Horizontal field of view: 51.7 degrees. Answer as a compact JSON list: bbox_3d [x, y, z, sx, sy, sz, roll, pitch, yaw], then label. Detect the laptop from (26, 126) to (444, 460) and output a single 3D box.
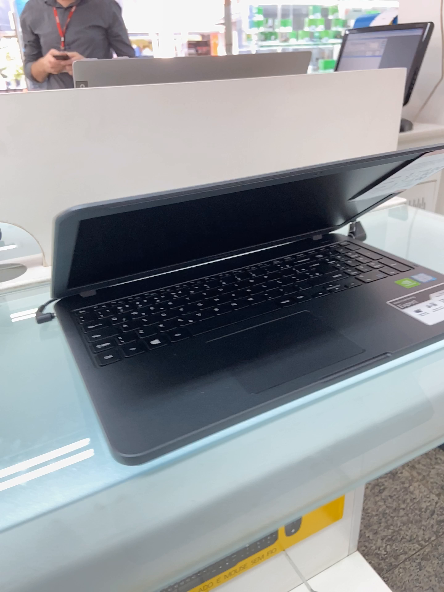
[{"bbox_3d":[0.050,-0.054,0.424,0.377,0.140,0.239,-15,30,-24],"label":"laptop"}]
